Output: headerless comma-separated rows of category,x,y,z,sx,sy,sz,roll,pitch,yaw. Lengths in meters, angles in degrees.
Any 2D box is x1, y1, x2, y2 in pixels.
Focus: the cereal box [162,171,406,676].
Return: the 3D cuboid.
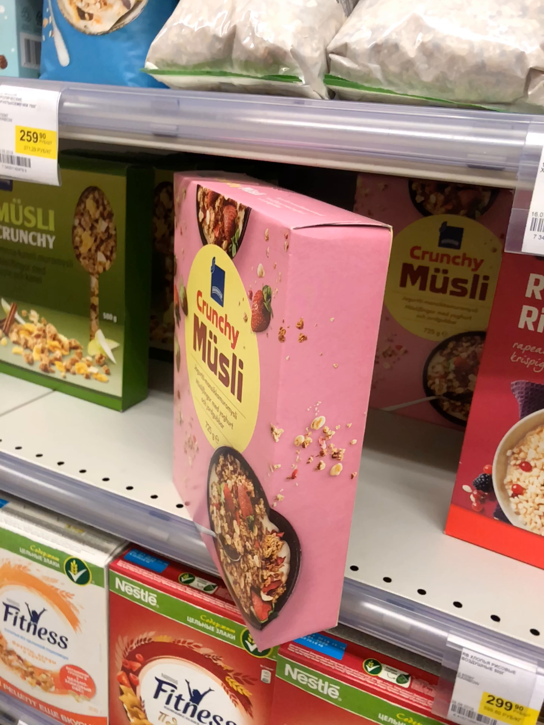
cereal box,-0.016,0.022,0.397,0.060,0.259,0.201,-7,25,-24
